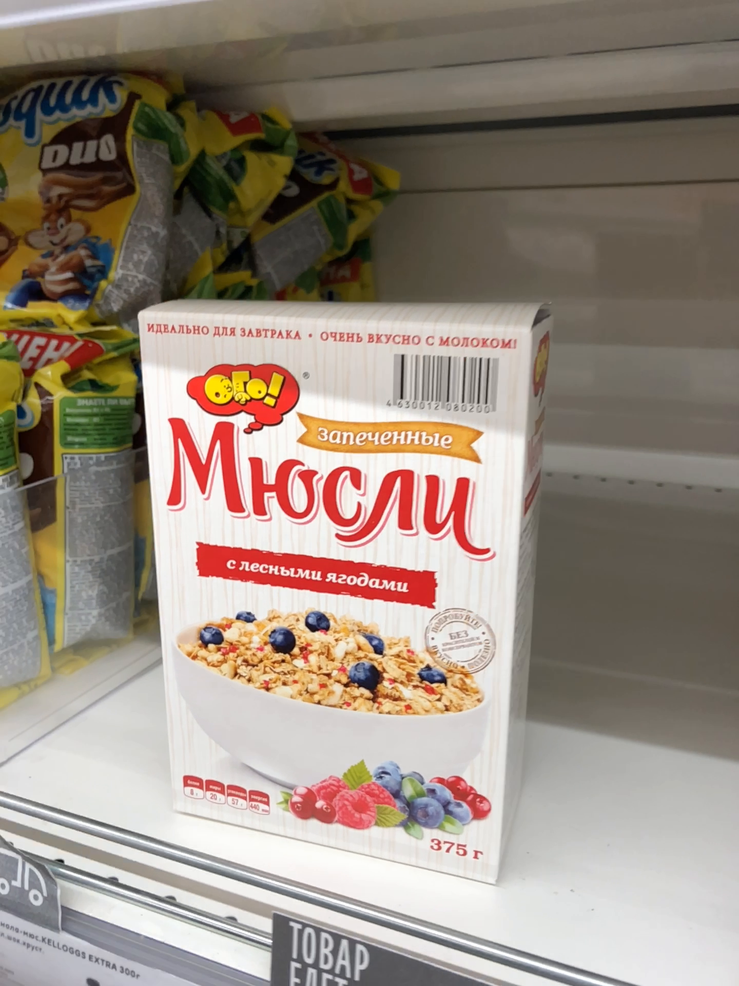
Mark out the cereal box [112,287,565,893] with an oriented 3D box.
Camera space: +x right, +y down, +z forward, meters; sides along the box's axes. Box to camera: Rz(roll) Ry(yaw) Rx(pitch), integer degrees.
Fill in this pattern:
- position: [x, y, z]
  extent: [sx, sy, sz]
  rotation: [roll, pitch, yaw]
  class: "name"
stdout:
- position: [-0.007, 0.028, 0.305]
  extent: [0.140, 0.199, 0.060]
  rotation: [5, 17, 18]
  class: "cereal box"
